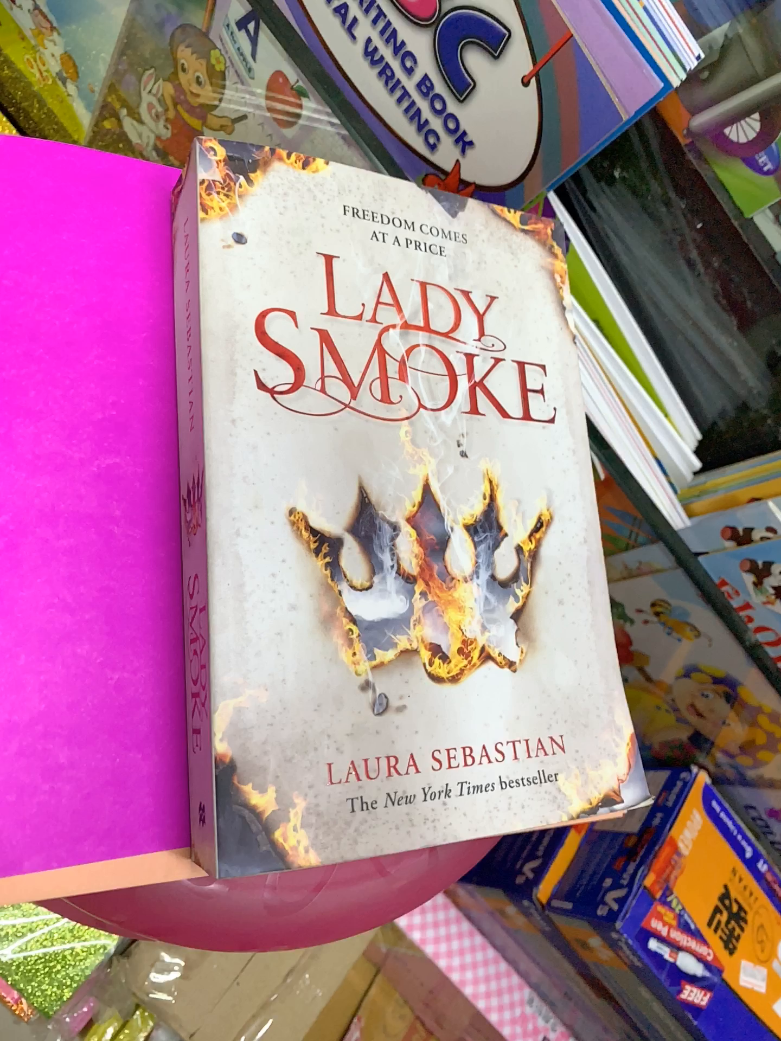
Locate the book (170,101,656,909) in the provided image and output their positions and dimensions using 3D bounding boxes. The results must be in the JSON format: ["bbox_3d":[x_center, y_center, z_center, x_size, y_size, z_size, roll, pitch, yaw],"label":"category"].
[{"bbox_3d":[0.006,-0.006,0.253,0.131,0.050,0.200,1,81,-31],"label":"book"}]
